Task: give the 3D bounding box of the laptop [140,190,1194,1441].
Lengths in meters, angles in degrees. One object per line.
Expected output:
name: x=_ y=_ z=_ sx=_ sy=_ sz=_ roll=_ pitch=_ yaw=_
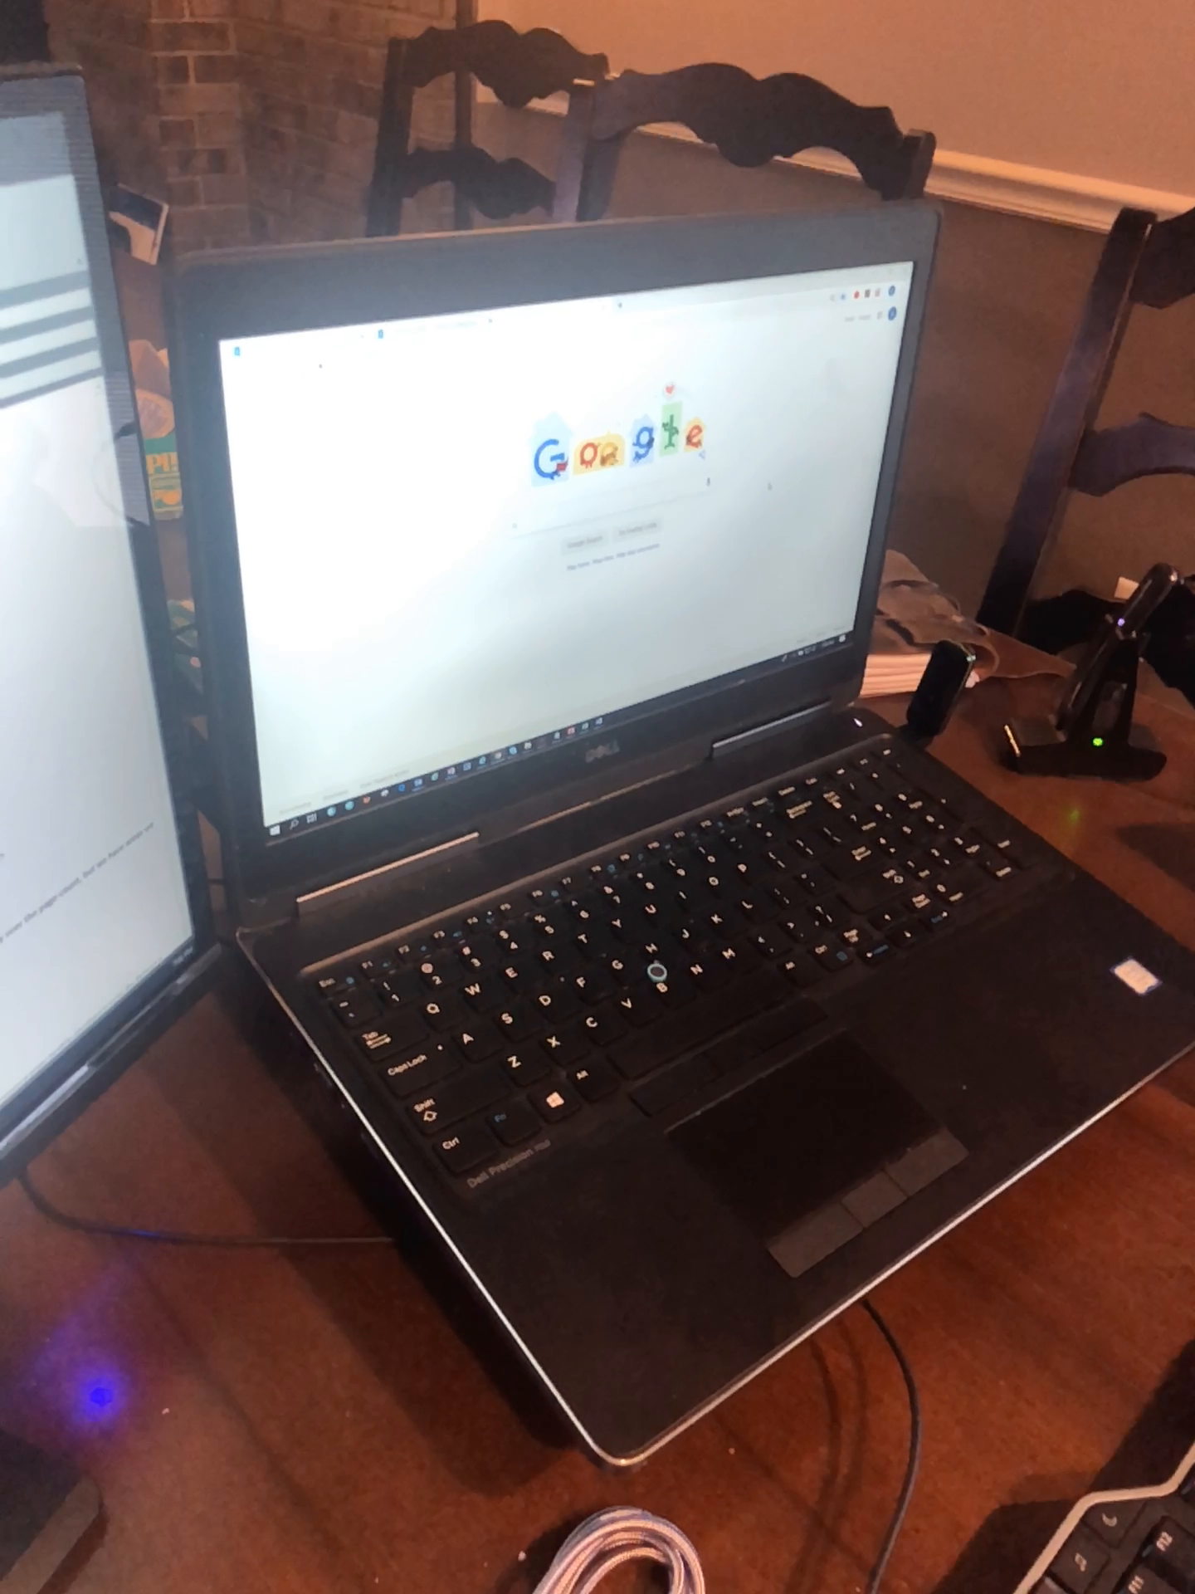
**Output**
laptop: x=0.076 y=-0.047 z=0.511 sx=0.368 sy=0.258 sz=0.287 roll=-20 pitch=44 yaw=-34
